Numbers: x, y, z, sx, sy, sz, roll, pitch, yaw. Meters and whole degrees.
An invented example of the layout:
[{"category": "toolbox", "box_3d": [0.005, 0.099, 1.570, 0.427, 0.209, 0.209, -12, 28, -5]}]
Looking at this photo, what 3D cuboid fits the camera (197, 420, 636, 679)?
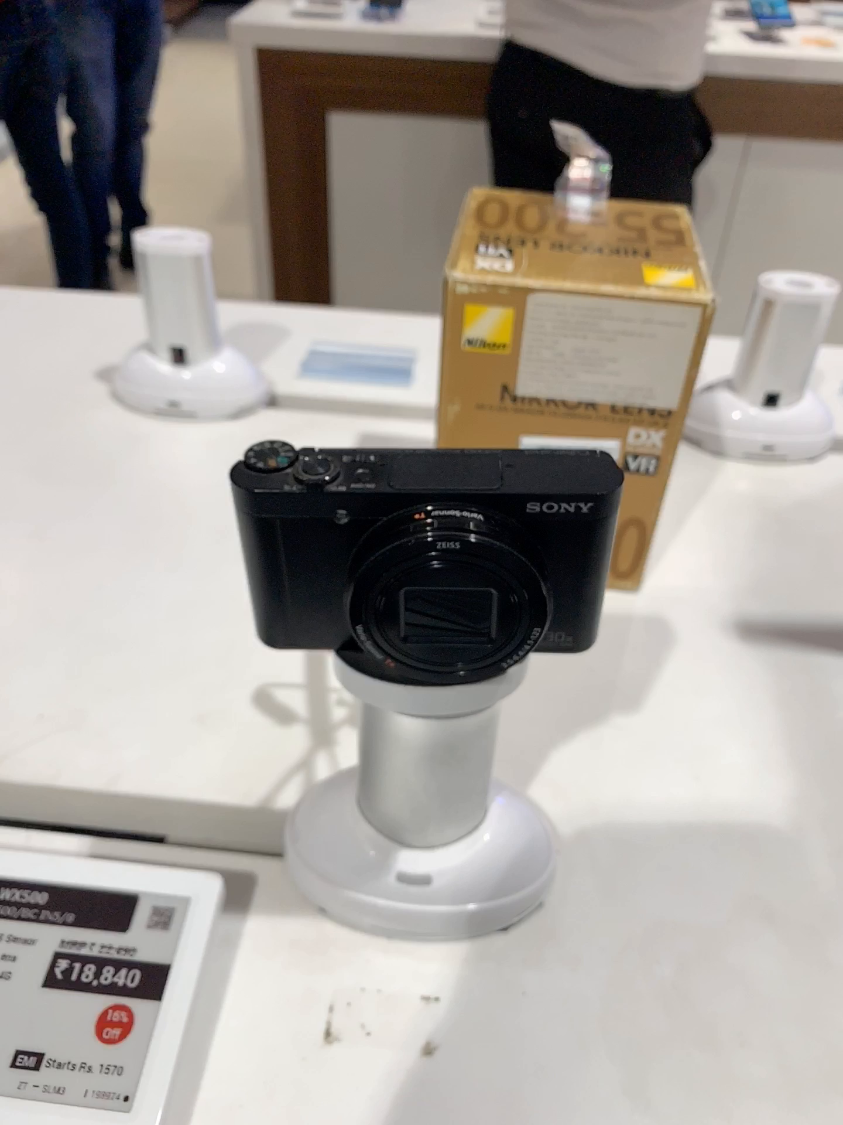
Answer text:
[{"category": "camera", "box_3d": [-0.002, -0.002, 0.232, 0.100, 0.060, 0.030, 2, 40, -1]}]
